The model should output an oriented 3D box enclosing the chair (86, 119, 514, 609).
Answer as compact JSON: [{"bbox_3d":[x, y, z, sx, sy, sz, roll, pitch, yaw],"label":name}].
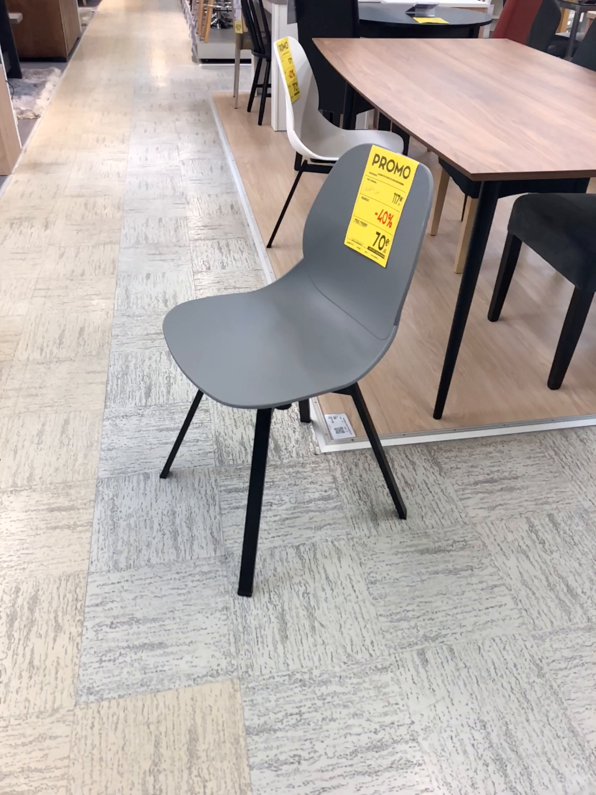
[{"bbox_3d":[-0.016,-0.103,1.379,0.582,0.755,0.511,-20,41,-28],"label":"chair"}]
